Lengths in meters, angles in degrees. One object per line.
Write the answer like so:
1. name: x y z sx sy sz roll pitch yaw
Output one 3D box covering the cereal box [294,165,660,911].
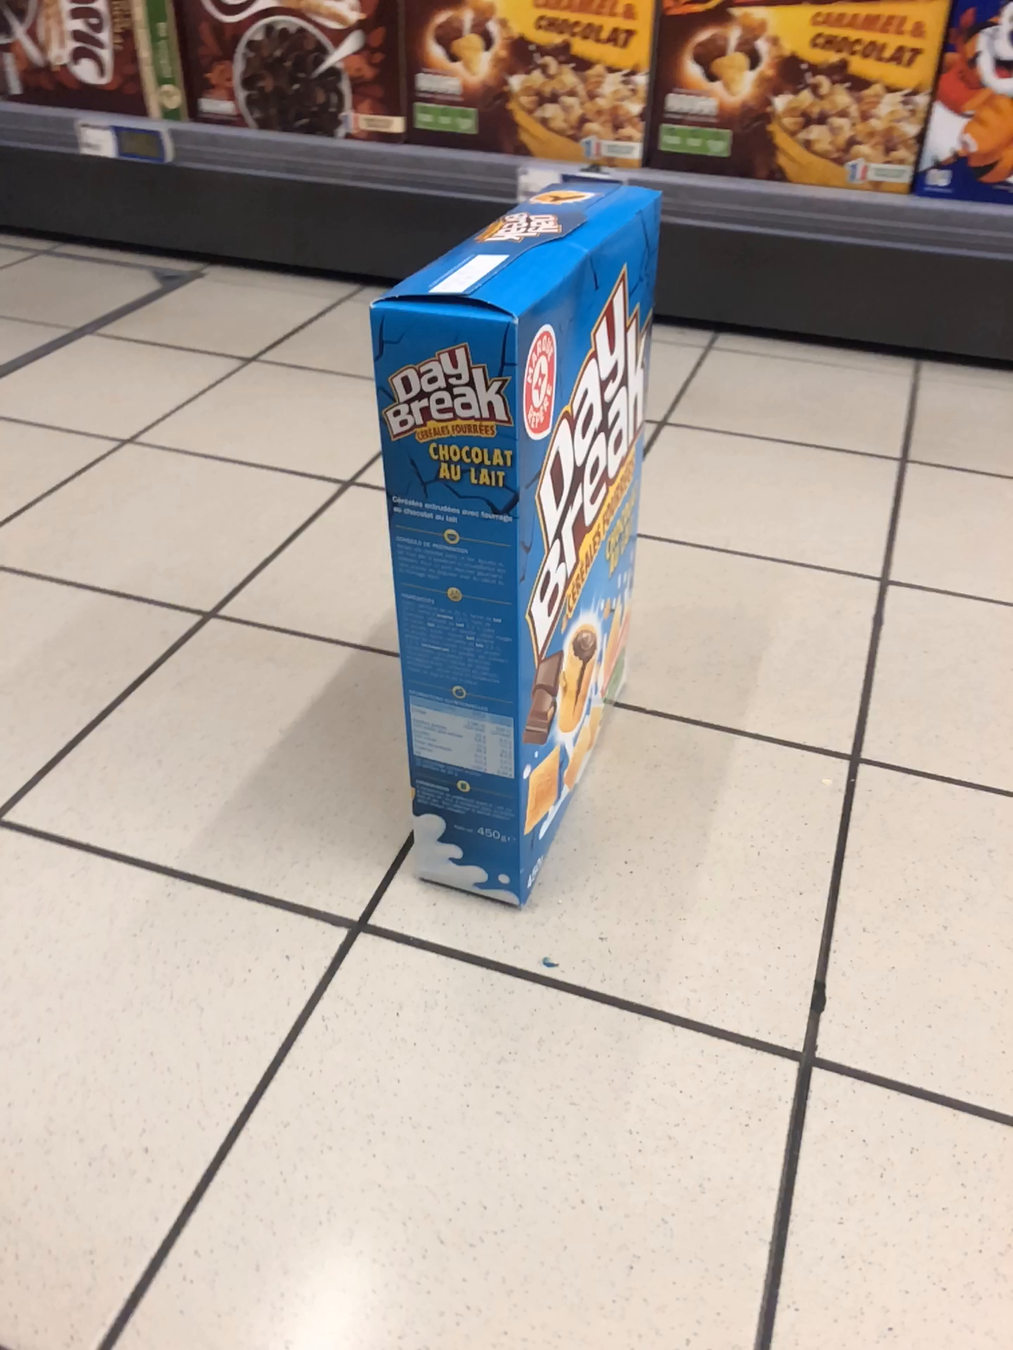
1. cereal box: 0.001 -0.065 0.494 0.070 0.258 0.201 11 37 17
